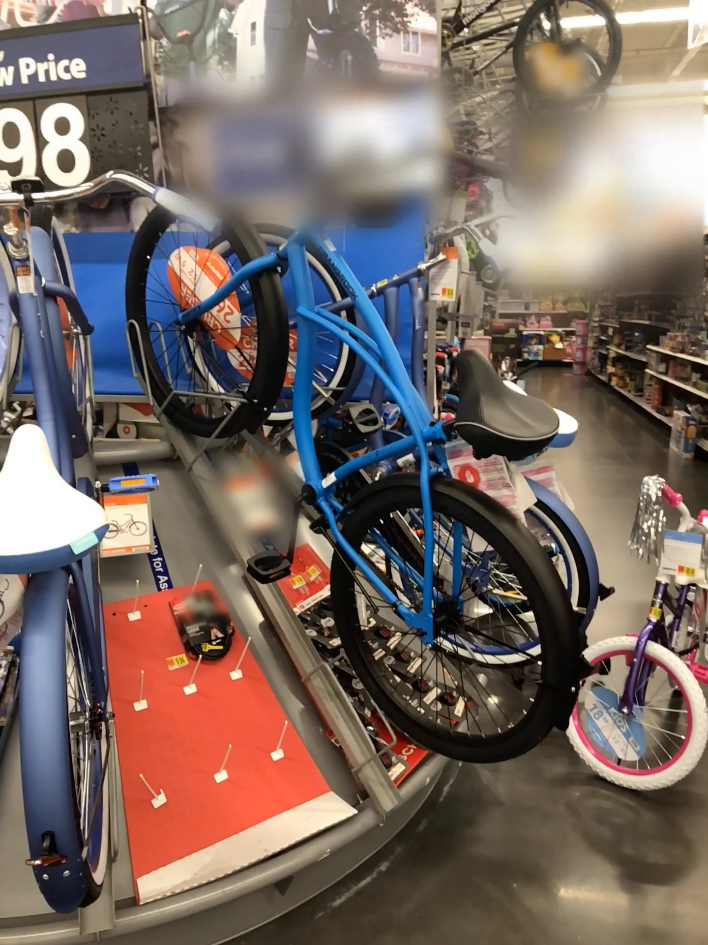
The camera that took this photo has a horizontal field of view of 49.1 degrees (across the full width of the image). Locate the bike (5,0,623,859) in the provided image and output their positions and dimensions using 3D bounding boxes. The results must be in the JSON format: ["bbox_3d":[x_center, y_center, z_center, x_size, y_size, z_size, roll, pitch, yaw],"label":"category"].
[{"bbox_3d":[-0.113,-0.554,1.721,1.561,1.122,0.505,37,30,28],"label":"bike"}]
